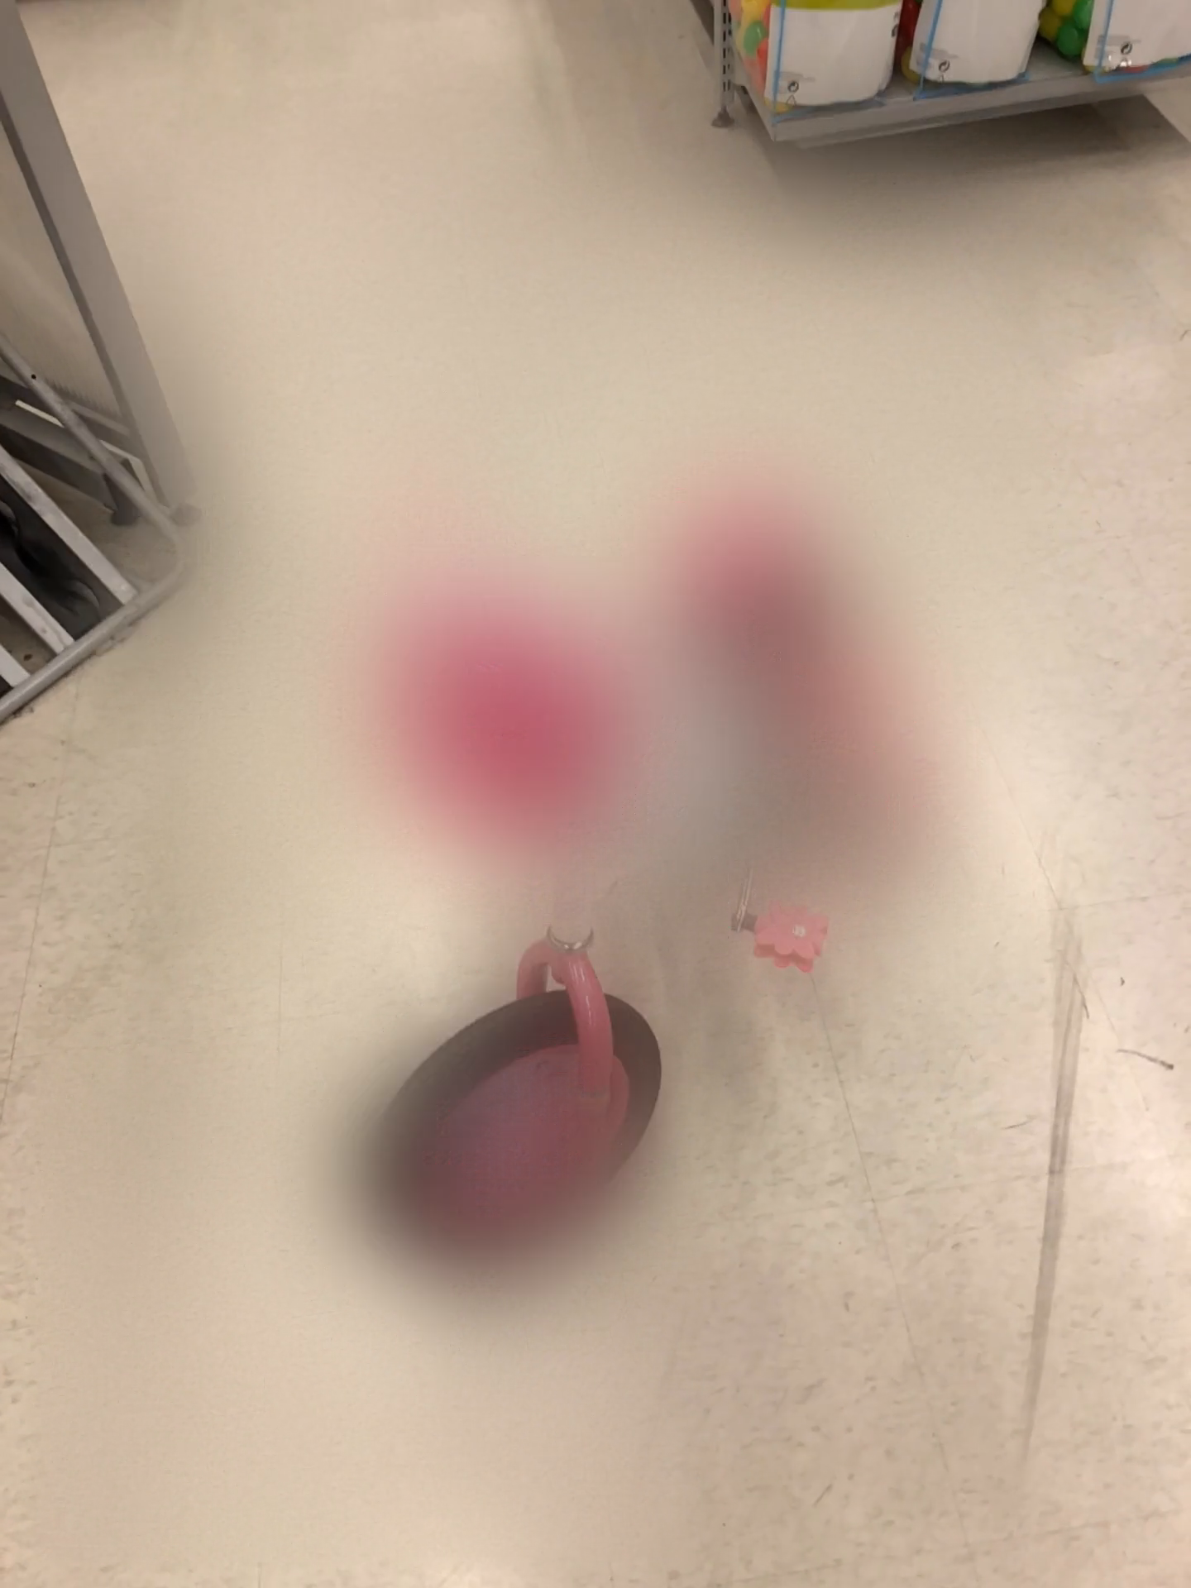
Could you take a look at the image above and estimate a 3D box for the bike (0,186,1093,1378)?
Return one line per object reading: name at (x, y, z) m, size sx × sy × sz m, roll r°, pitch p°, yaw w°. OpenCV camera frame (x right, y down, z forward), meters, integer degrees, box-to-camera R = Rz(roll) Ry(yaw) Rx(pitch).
bike at (0.025, -0.029, 1.272) m, size 0.457 × 0.632 × 0.881 m, roll 23°, pitch 58°, yaw 22°
